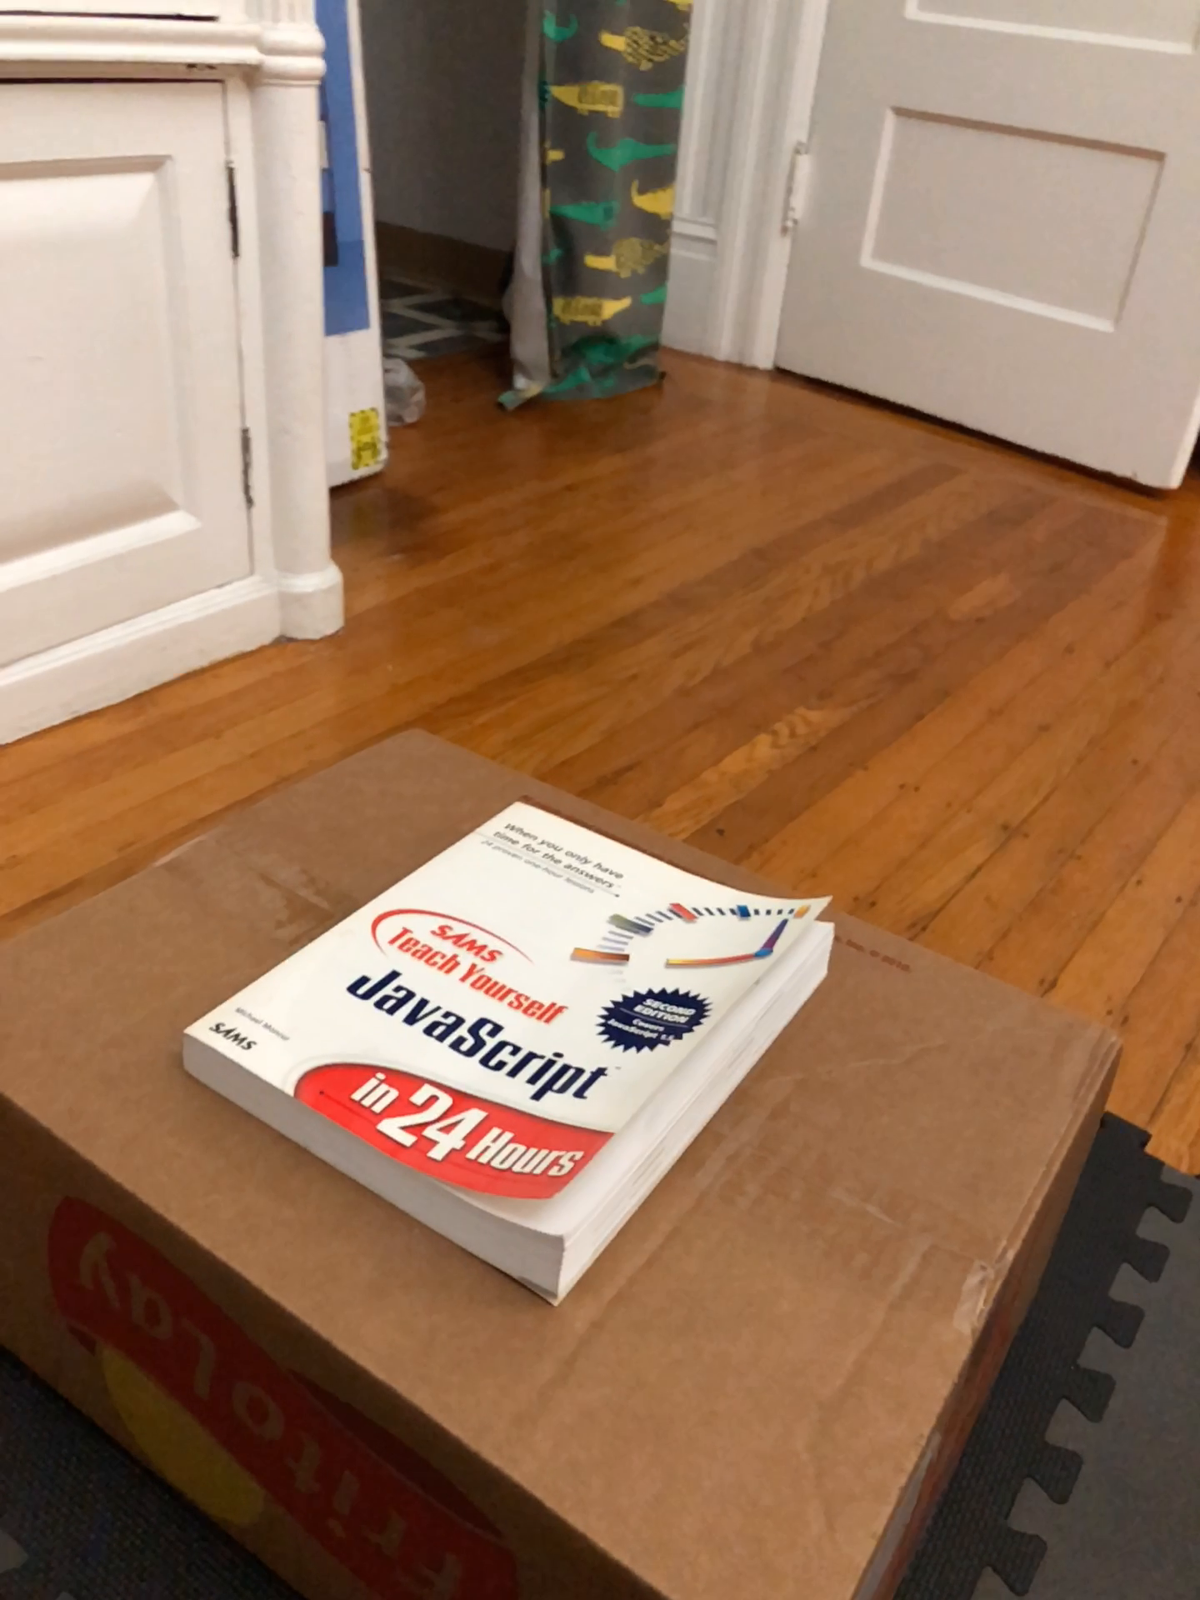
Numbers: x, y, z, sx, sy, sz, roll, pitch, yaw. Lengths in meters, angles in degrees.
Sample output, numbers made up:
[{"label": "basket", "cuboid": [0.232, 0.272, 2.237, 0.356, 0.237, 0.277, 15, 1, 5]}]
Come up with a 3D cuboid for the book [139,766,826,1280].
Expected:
[{"label": "book", "cuboid": [-0.040, 0.075, 0.591, 0.200, 0.030, 0.241, 22, 33, 24]}]
